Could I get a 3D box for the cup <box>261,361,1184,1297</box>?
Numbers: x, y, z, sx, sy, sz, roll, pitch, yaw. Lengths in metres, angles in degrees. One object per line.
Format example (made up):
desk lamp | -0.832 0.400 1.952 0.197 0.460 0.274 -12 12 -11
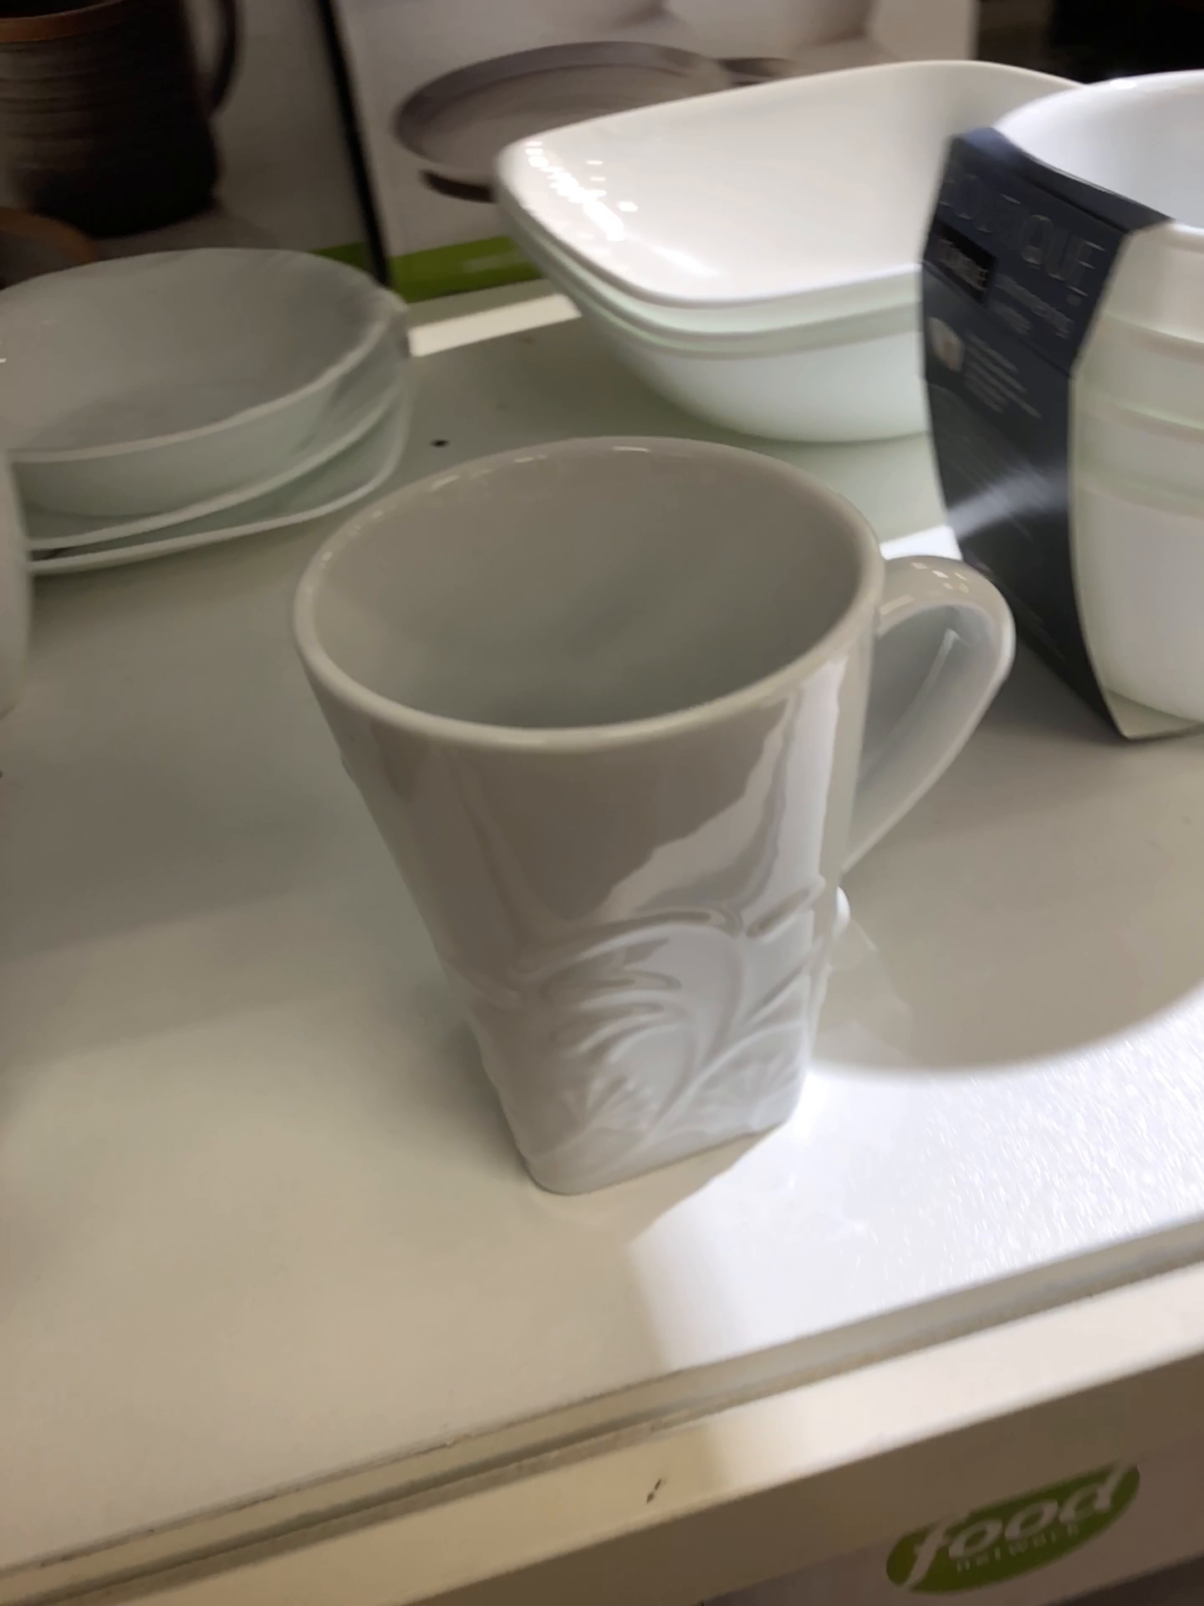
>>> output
cup | 0.014 0.003 0.236 0.115 0.113 0.086 -13 41 -8
